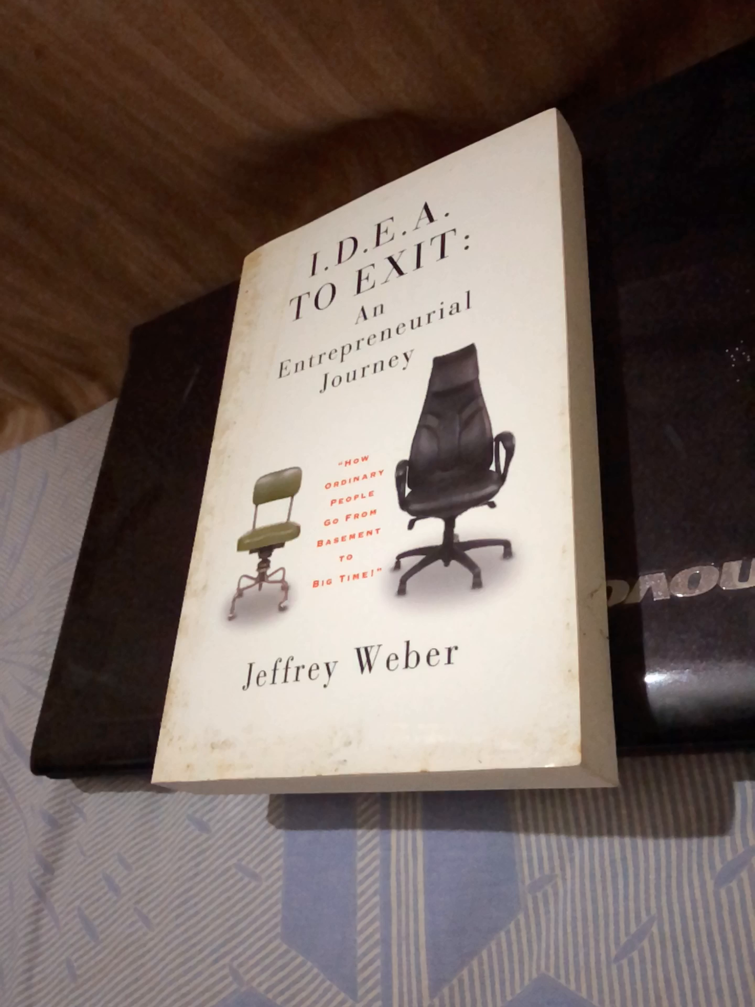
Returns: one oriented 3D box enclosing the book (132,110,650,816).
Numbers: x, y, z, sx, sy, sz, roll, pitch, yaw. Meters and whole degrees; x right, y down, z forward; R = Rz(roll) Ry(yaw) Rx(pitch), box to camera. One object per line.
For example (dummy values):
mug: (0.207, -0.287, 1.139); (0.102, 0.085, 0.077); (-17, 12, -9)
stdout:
book: (0.004, -0.018, 0.305); (0.161, 0.030, 0.240); (-15, 54, 31)
